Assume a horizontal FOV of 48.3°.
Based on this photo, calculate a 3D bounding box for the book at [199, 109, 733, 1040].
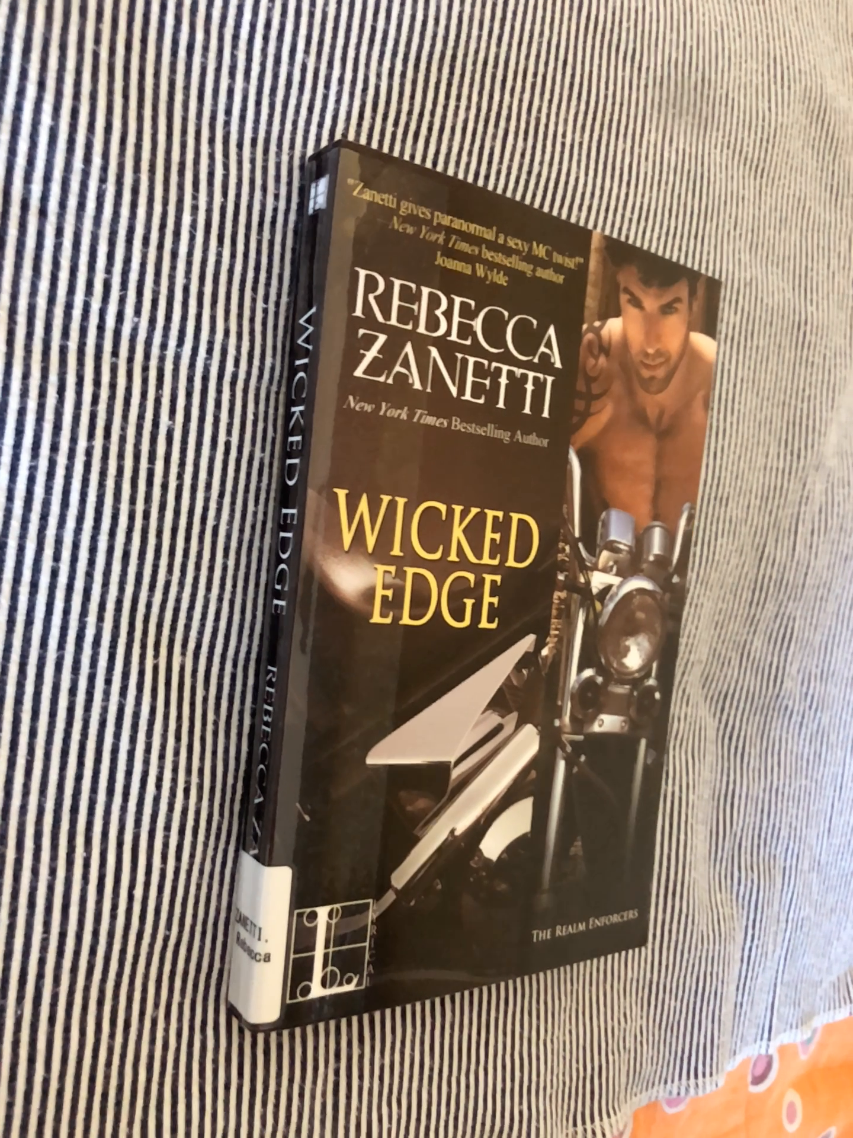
[{"bbox_3d":[0.018,0.007,0.271,0.138,0.030,0.215,6,92,-36],"label":"book"}]
